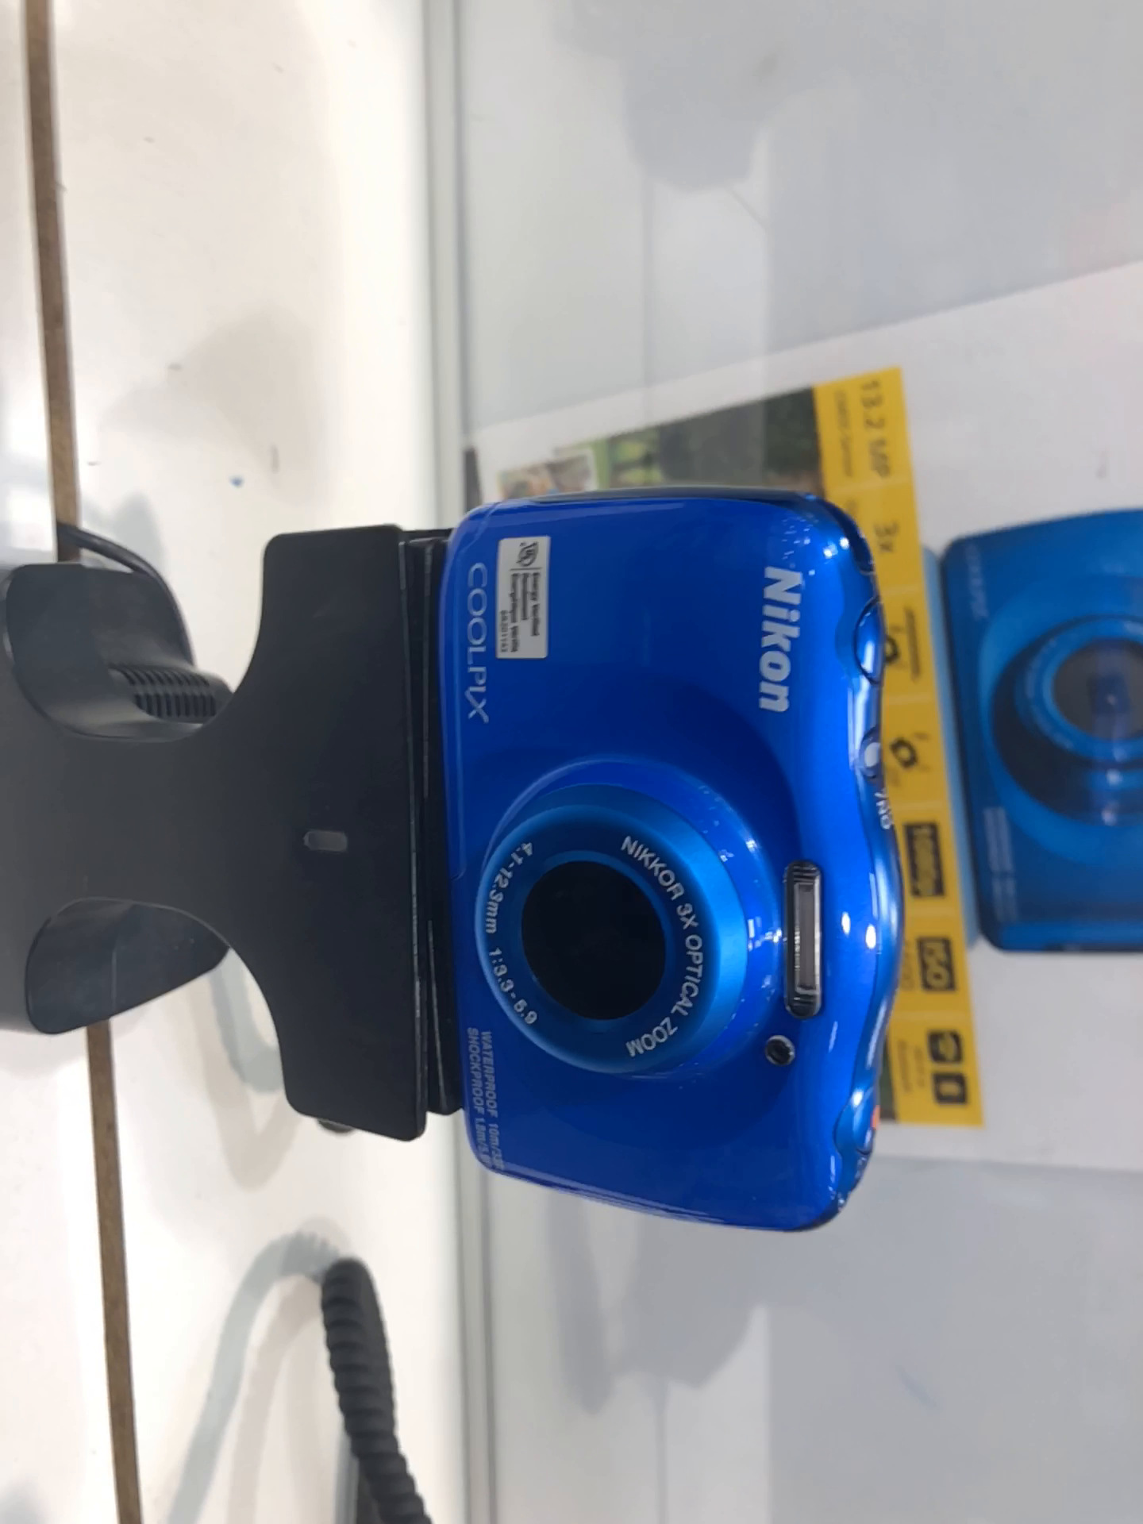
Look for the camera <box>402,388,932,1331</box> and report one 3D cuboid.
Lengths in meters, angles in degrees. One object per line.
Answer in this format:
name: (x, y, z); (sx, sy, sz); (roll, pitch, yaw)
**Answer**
camera: (0.018, 0.012, 0.213); (0.050, 0.070, 0.130); (-13, 104, -61)
